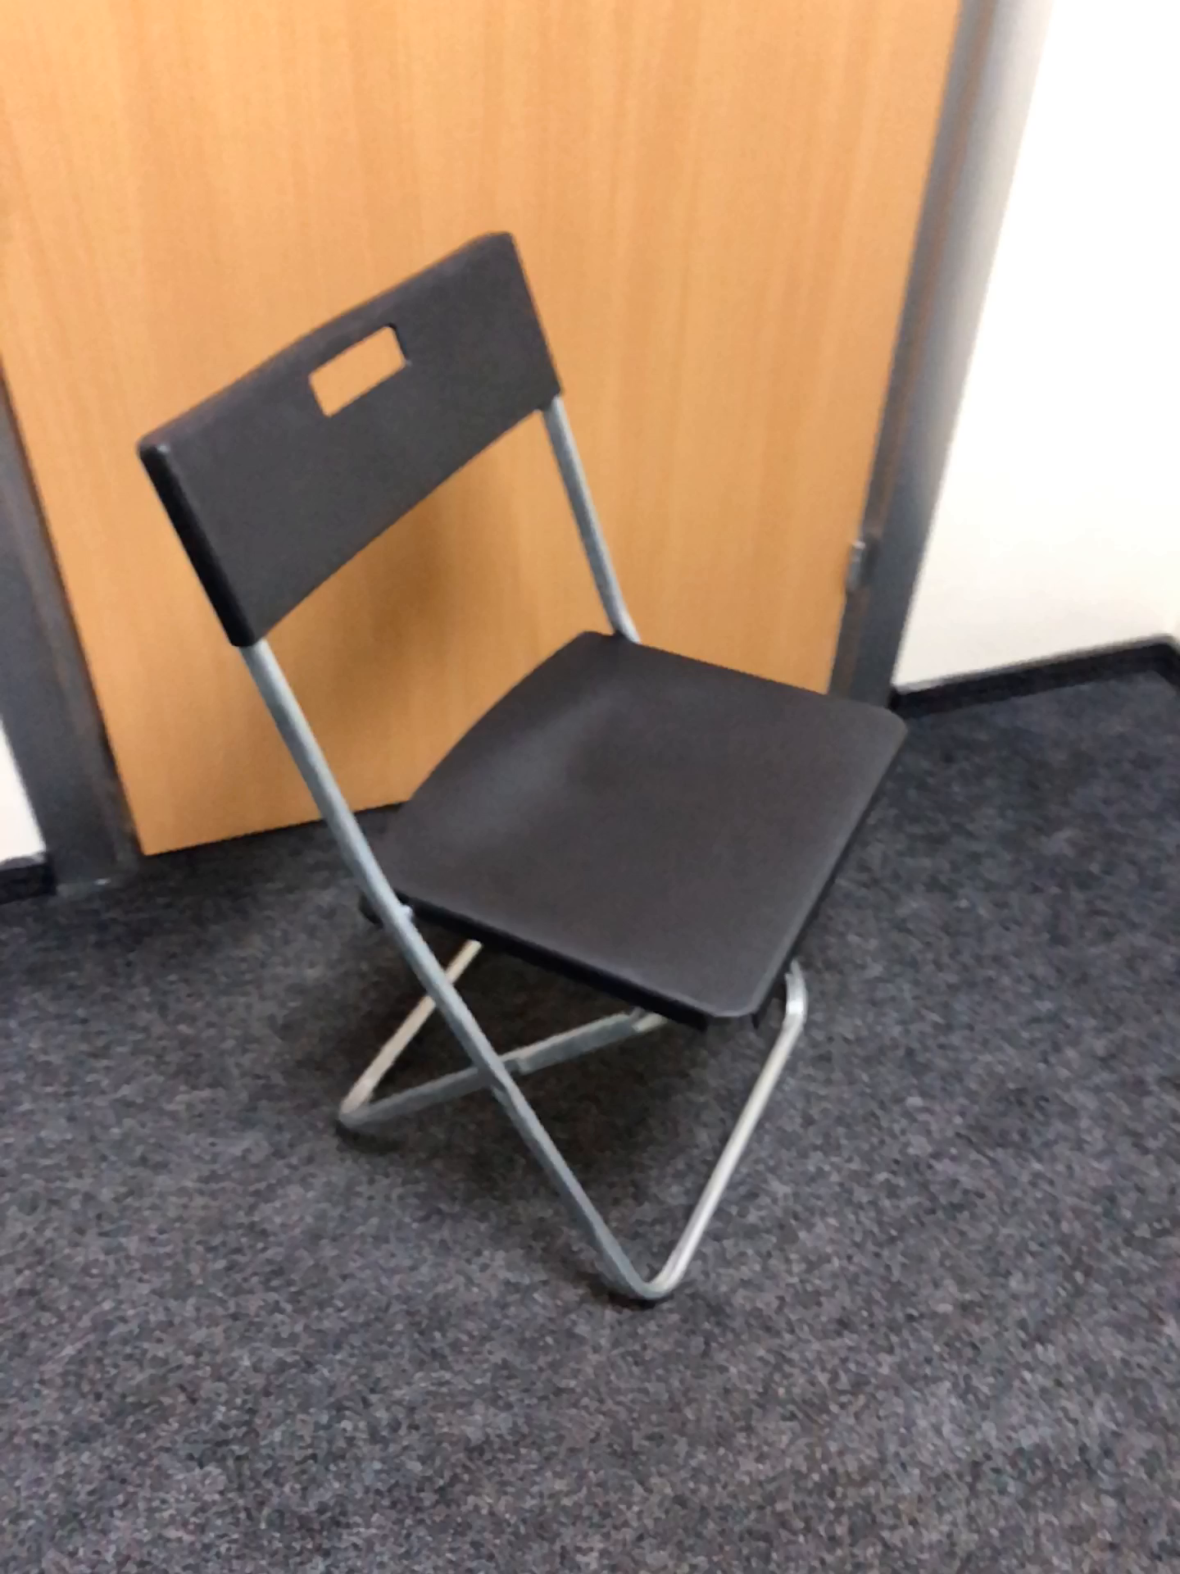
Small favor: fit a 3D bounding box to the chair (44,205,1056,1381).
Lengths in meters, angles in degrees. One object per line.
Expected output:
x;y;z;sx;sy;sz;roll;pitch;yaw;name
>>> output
-0.005;0.008;1.082;0.480;0.725;0.483;21;46;19;chair
